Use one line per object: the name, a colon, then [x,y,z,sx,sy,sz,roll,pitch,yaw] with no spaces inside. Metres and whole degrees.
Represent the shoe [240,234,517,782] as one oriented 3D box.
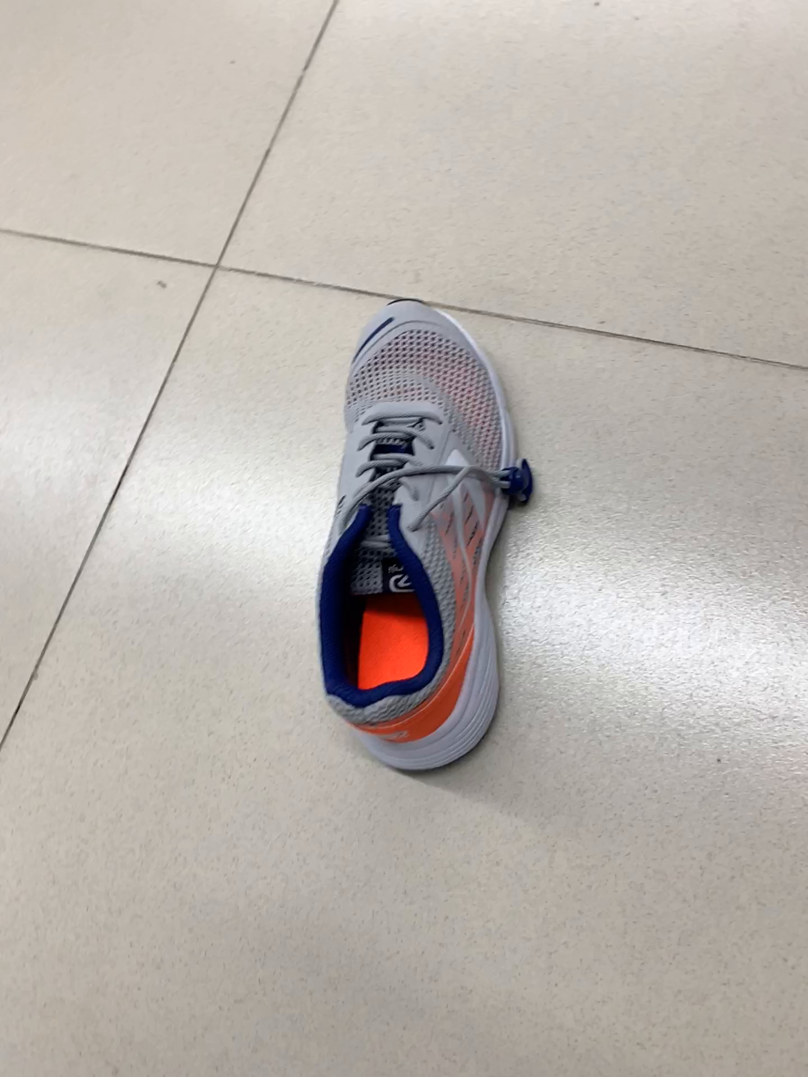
shoe: [-0.002,-0.010,0.421,0.100,0.100,0.250,-2,72,16]
